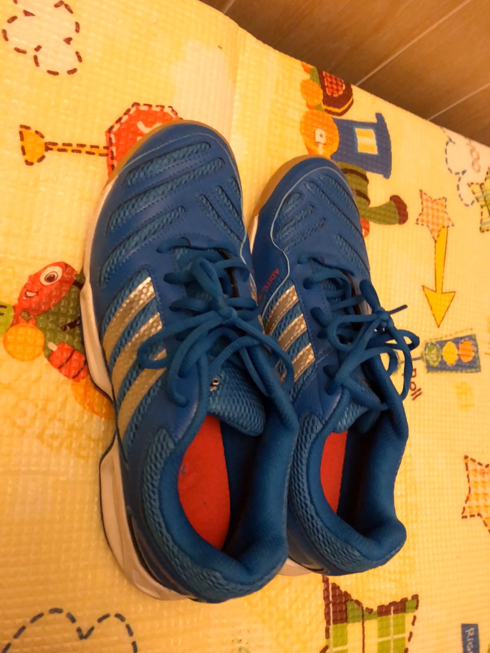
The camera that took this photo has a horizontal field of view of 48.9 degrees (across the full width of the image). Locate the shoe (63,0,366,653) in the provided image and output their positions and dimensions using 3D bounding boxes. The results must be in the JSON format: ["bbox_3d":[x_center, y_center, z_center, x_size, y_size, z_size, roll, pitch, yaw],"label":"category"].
[{"bbox_3d":[-0.024,0.001,0.307,0.110,0.140,0.290,5,81,-29],"label":"shoe"}]

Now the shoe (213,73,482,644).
[{"bbox_3d":[0.060,0.017,0.351,0.110,0.120,0.290,6,80,-29],"label":"shoe"}]
